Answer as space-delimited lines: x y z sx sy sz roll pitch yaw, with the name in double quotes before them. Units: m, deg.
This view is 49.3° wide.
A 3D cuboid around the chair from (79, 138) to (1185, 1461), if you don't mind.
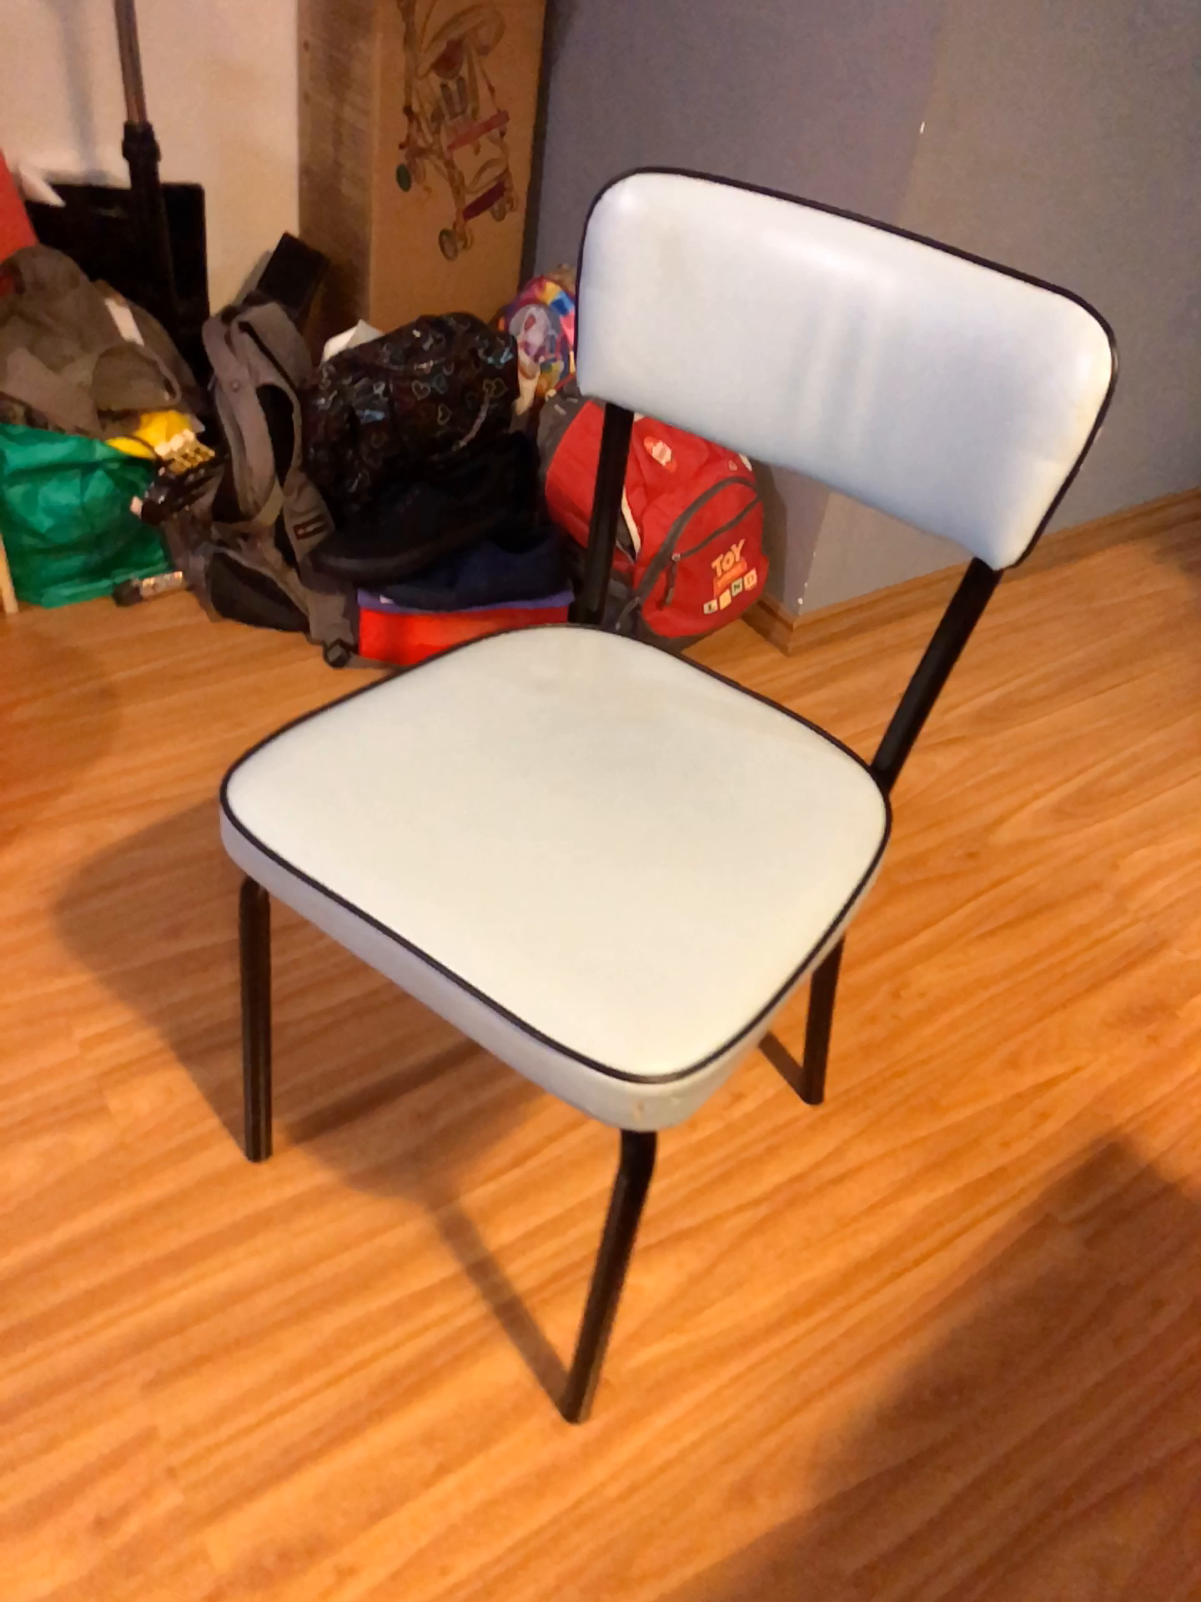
"chair" 0.007 0.003 1.033 0.451 0.794 0.503 30 46 23
